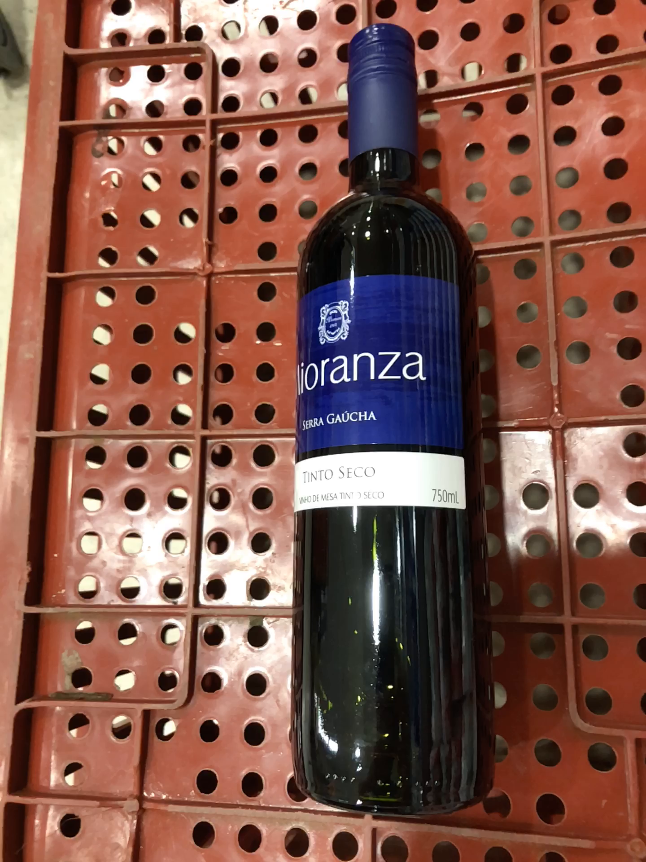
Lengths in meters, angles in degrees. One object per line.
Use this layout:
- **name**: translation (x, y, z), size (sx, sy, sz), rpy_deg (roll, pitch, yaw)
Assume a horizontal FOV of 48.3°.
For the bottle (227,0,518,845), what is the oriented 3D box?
- **bottle**: translation (0.016, -0.024, 0.275), size (0.080, 0.060, 0.300), rpy_deg (-8, 77, 34)
